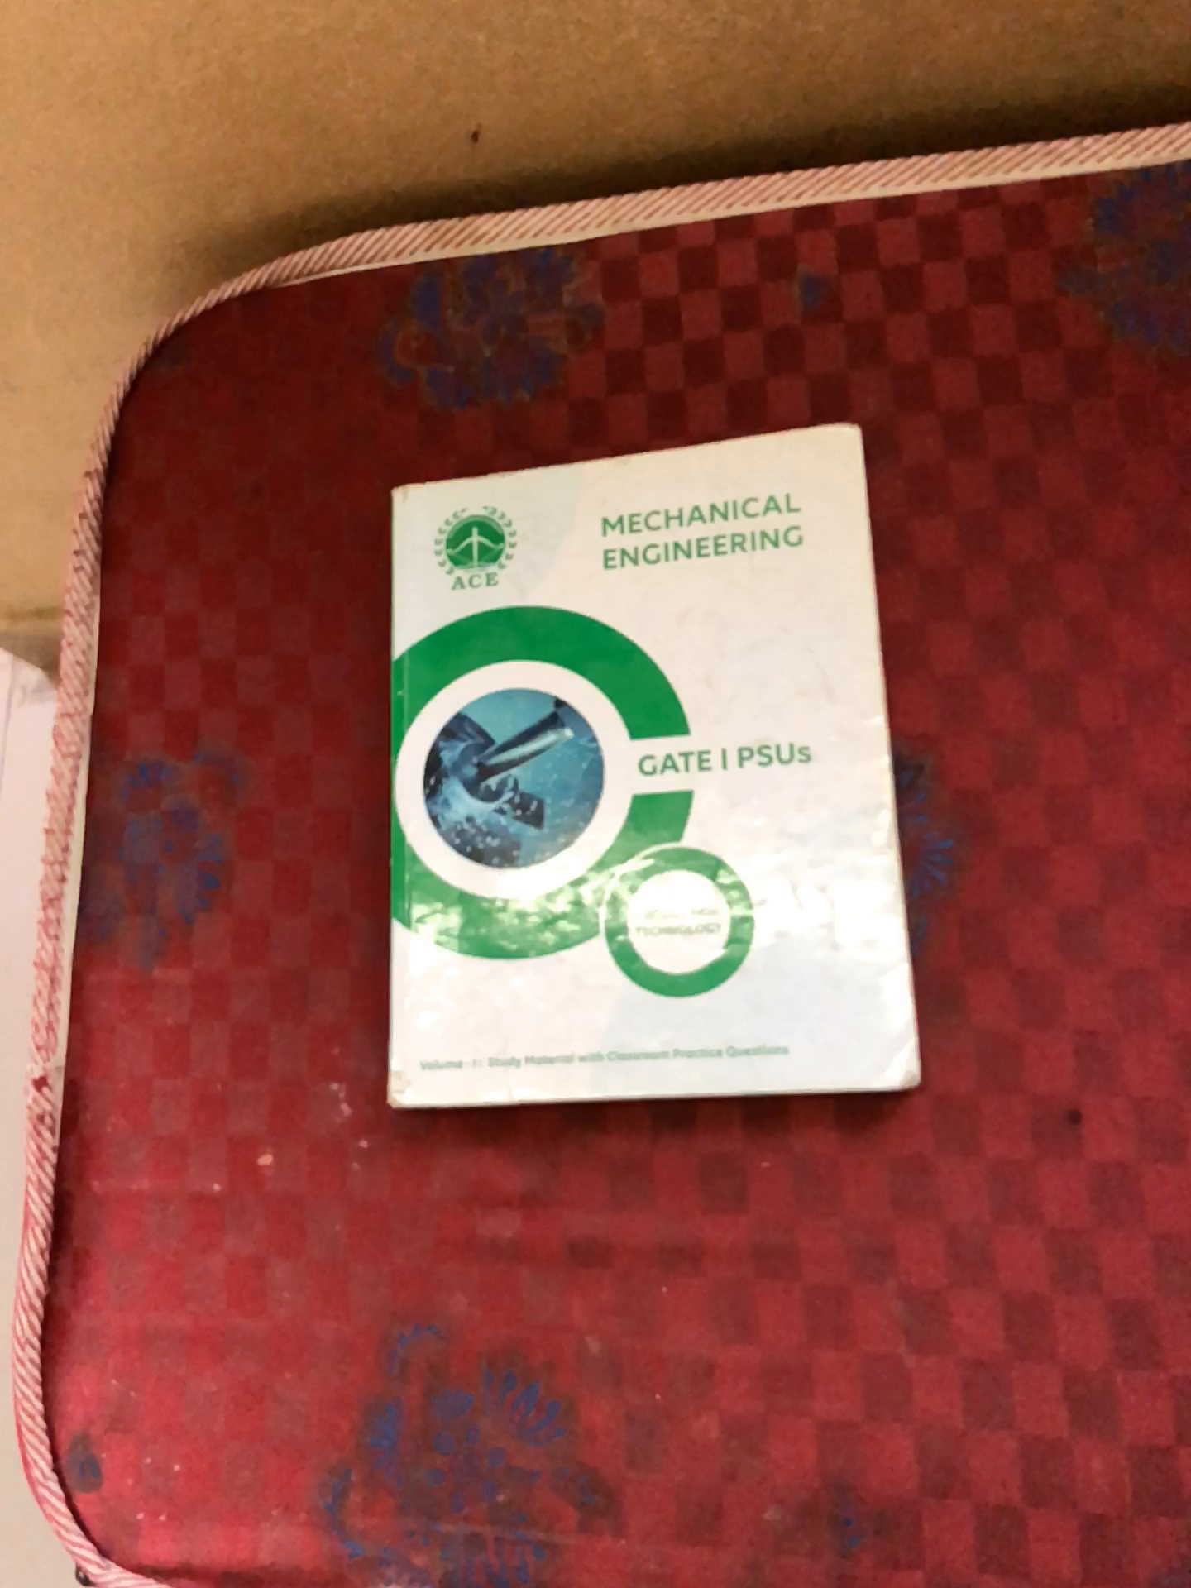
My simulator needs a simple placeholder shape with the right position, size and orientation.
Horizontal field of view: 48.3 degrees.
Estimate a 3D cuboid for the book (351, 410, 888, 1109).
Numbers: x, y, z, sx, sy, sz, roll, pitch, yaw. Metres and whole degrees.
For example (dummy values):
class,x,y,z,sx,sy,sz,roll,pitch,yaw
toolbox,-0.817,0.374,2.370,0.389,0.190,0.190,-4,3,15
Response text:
class,x,y,z,sx,sy,sz,roll,pitch,yaw
book,0.003,-0.015,0.561,0.210,0.030,0.280,-5,75,11
